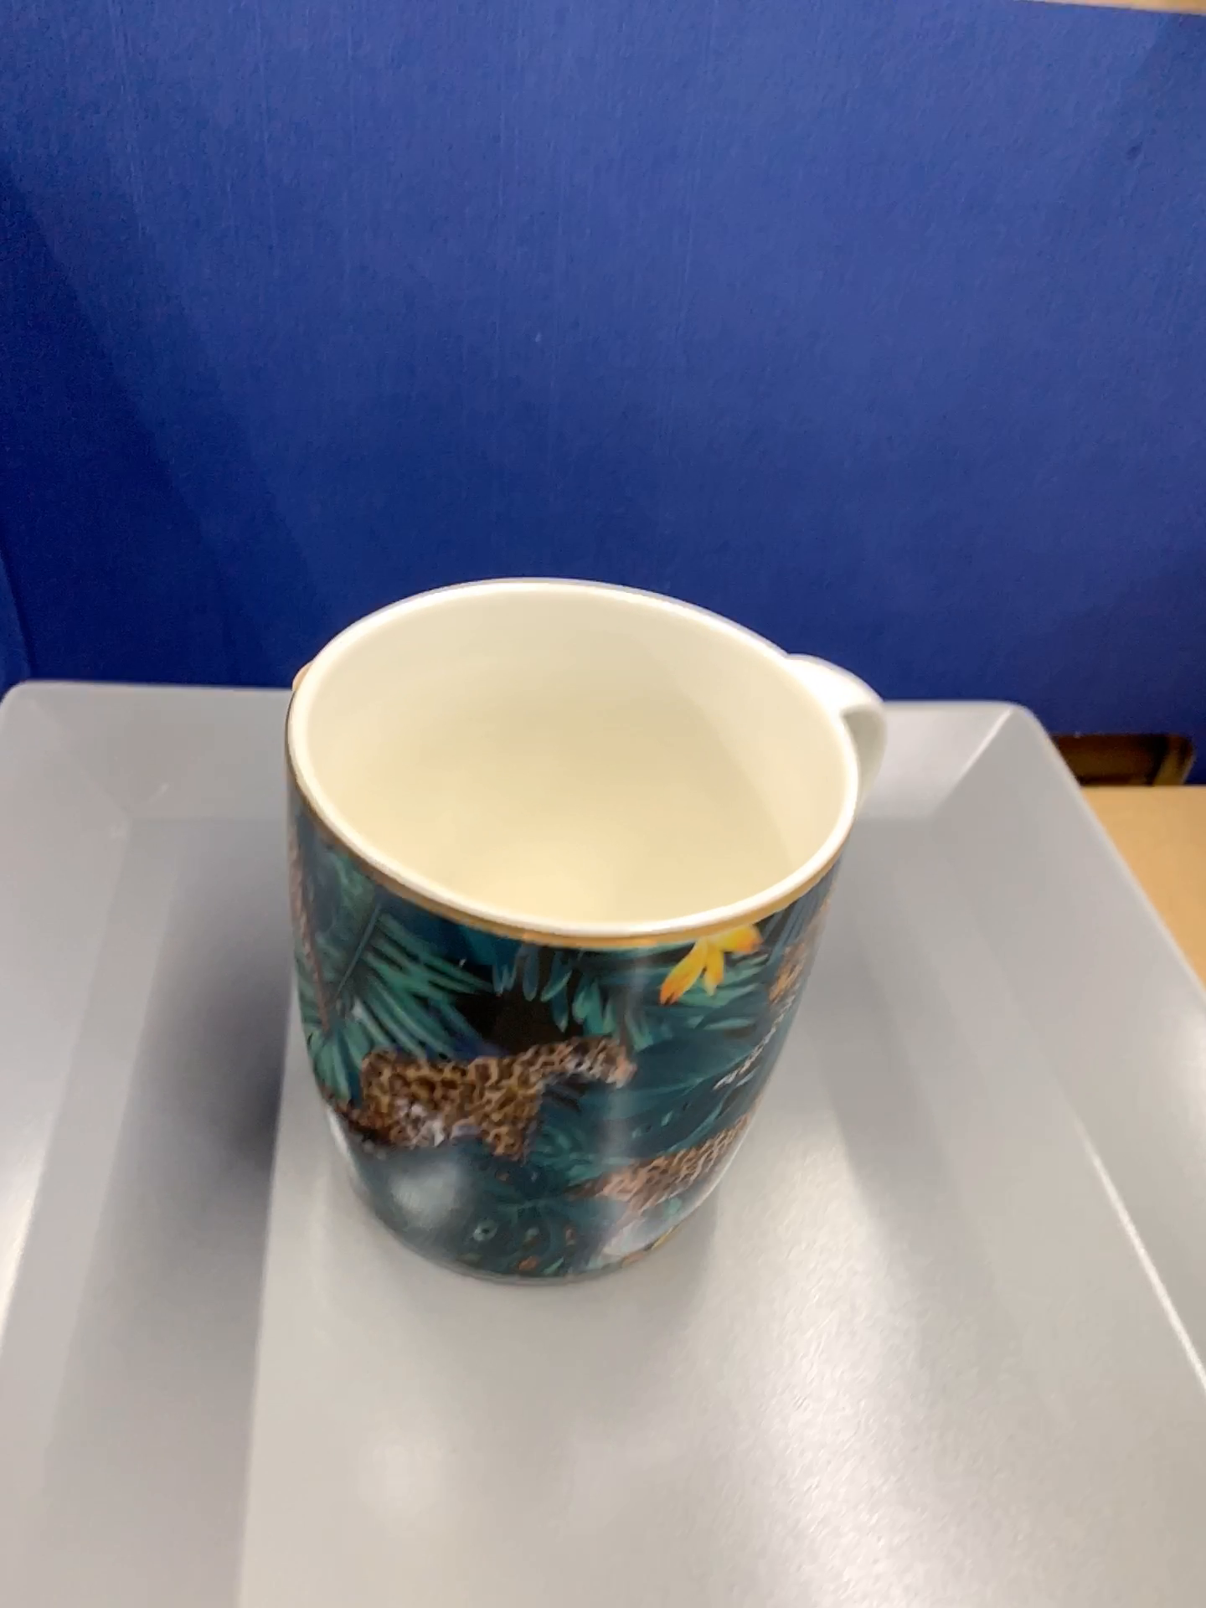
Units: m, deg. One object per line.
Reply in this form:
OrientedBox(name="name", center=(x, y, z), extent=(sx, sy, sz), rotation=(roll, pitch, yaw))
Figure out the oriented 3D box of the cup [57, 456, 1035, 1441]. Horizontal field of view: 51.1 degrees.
OrientedBox(name="cup", center=(-0.005, 0.012, 0.224), extent=(0.093, 0.091, 0.126), rotation=(29, 43, 28))
